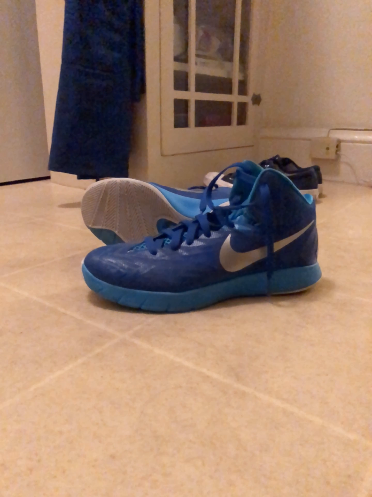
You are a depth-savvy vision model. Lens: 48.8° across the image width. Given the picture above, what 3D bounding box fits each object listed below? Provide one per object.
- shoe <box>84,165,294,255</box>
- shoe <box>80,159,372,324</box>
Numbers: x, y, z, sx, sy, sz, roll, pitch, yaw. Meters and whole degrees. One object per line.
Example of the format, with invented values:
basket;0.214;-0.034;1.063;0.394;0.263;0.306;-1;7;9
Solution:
shoe;0.003;-0.068;0.639;0.281;0.120;0.160;0;12;-2
shoe;0.041;-0.022;0.480;0.310;0.144;0.120;-4;18;-14
